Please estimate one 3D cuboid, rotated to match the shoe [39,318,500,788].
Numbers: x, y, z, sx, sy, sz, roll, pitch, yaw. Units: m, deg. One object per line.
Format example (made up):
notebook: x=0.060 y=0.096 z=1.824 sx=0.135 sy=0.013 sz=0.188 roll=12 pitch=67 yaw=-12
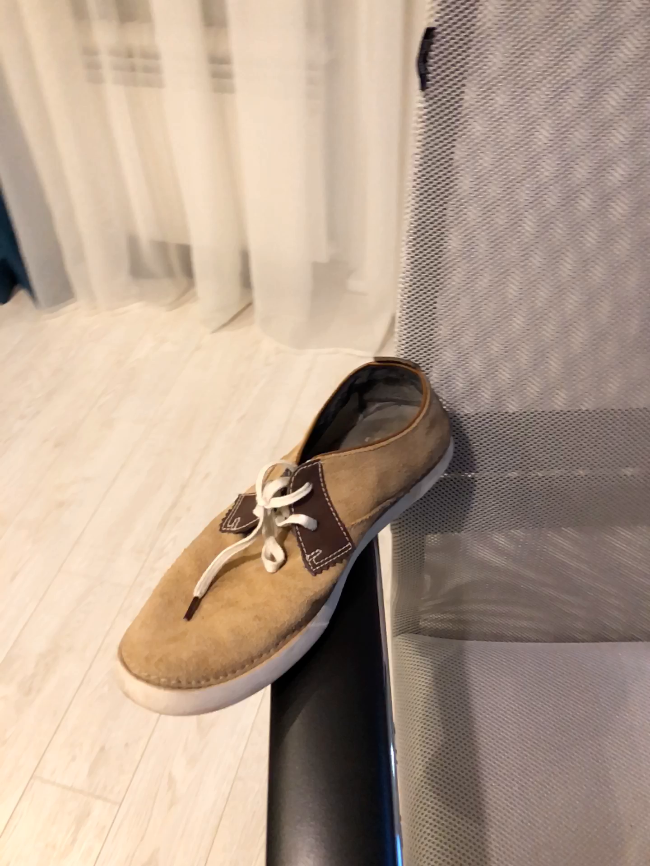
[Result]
shoe: x=-0.015 y=0.054 z=0.479 sx=0.120 sy=0.079 sz=0.311 roll=27 pitch=53 yaw=26
